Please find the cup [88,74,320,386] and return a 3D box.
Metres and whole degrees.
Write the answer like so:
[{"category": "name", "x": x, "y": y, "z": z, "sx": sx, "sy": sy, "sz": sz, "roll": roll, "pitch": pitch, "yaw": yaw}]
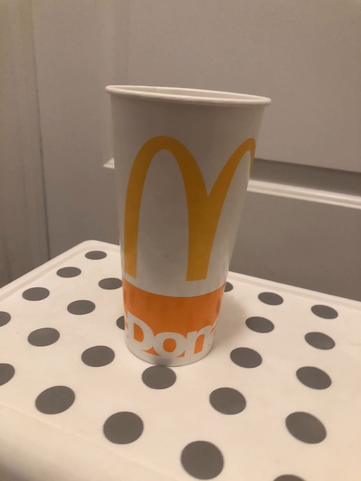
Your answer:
[{"category": "cup", "x": -0.001, "y": -0.014, "z": 0.246, "sx": 0.100, "sy": 0.154, "sz": 0.099, "roll": 3, "pitch": 23, "yaw": -1}]
